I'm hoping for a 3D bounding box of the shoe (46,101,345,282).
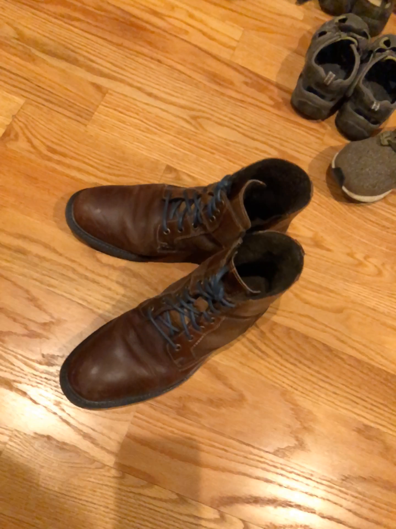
[{"bbox_3d":[-0.008,-0.073,0.542,0.310,0.168,0.113,7,70,-10],"label":"shoe"}]

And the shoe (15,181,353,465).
[{"bbox_3d":[-0.015,0.063,0.494,0.304,0.177,0.128,-31,80,-20],"label":"shoe"}]
